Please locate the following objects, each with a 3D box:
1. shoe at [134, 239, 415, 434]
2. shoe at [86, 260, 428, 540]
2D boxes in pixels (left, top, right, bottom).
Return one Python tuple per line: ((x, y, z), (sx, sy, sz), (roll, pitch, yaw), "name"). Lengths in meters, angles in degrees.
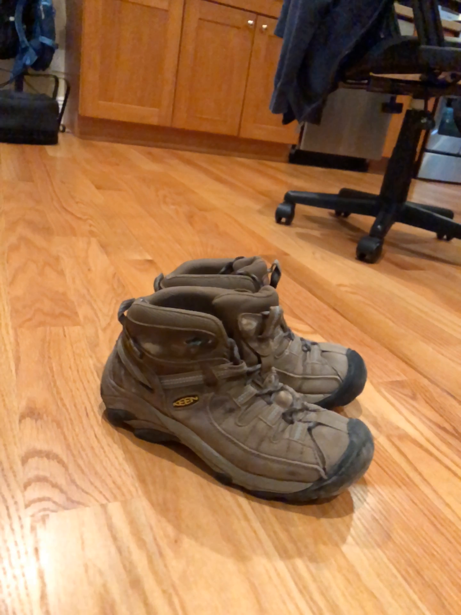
((0.041, 0.027, 0.560), (0.259, 0.139, 0.108), (10, 20, 0), "shoe")
((0.019, 0.066, 0.450), (0.259, 0.139, 0.108), (15, 21, 14), "shoe")
